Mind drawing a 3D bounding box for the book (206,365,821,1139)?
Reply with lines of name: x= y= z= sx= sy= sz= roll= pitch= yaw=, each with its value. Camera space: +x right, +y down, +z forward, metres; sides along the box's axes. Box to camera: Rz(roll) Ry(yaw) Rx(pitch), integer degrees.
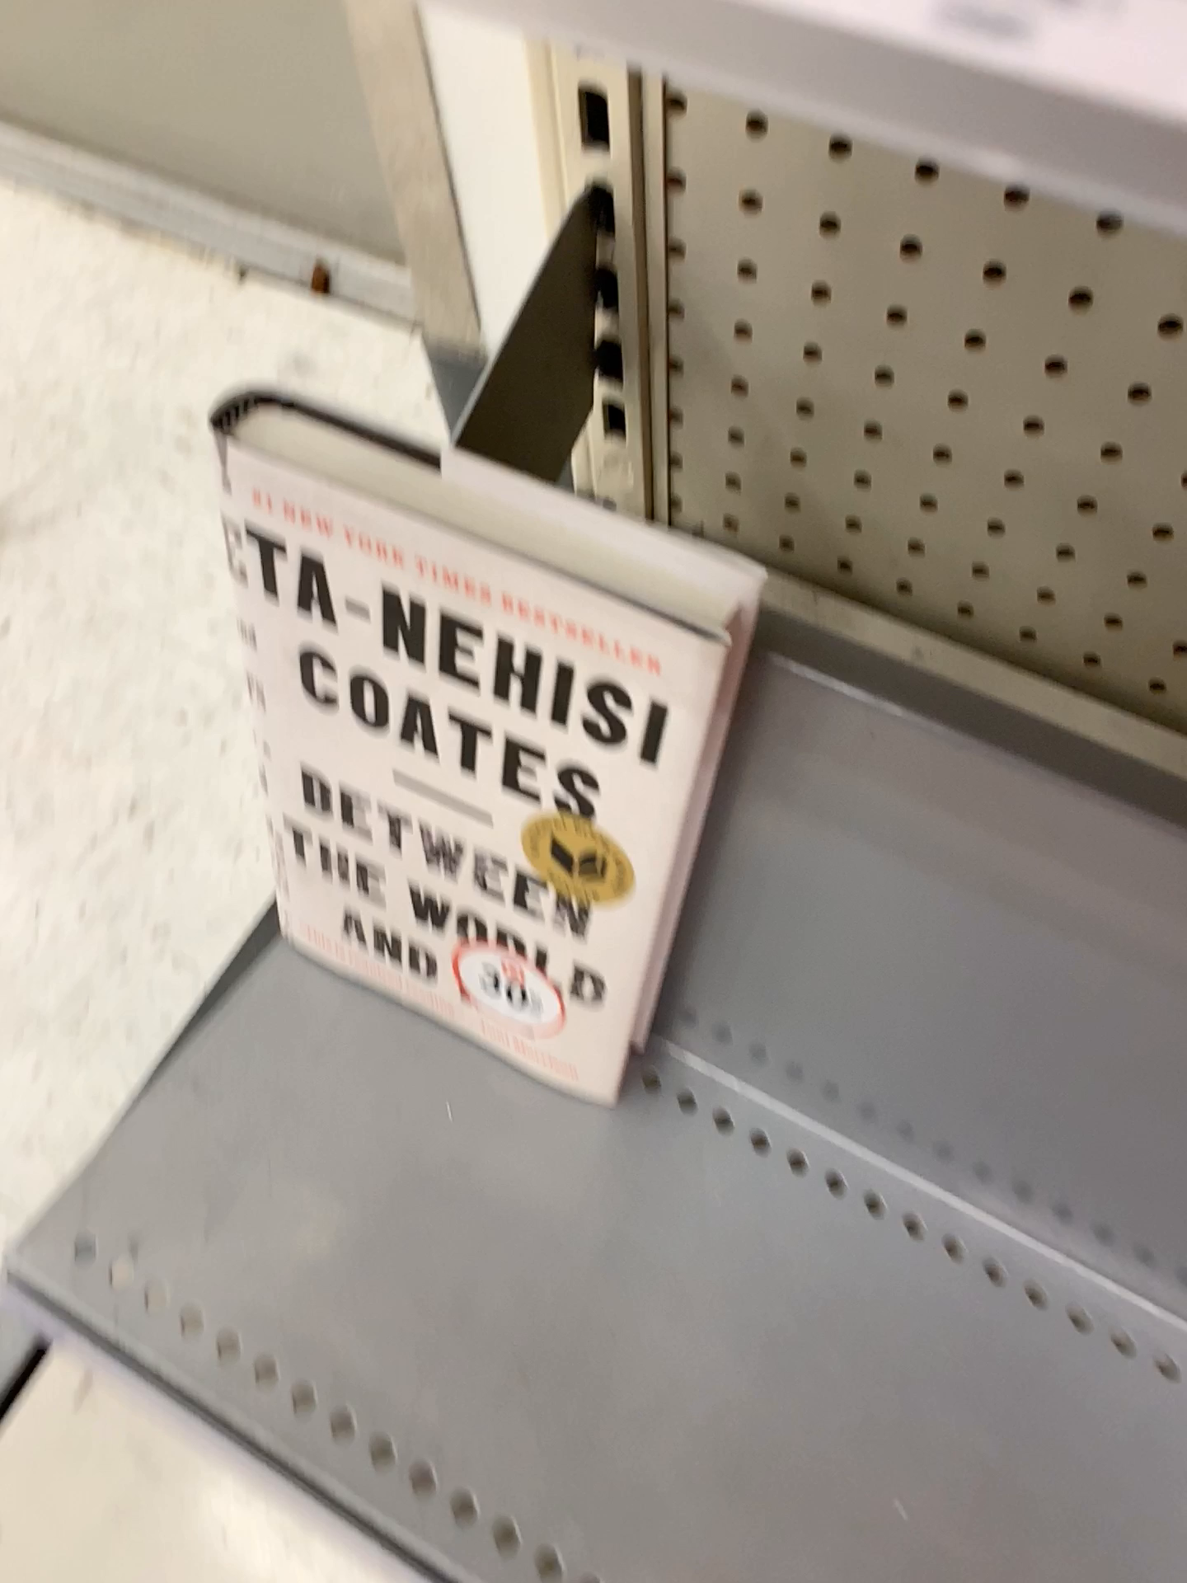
book: x=-0.027 y=0.002 z=0.318 sx=0.129 sy=0.187 sz=0.030 roll=24 pitch=48 yaw=16
